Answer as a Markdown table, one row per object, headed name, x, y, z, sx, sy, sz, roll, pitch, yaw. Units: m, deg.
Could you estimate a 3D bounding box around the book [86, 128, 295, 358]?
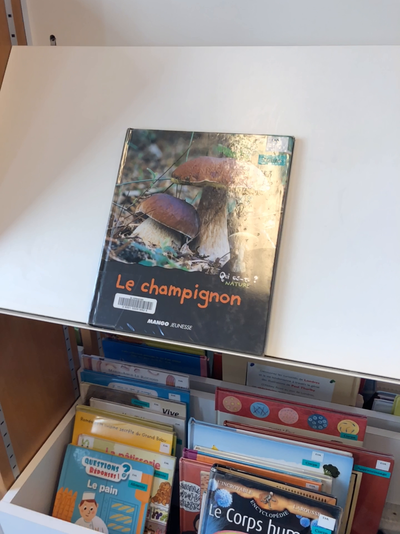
| name | x | y | z | sx | sy | sz | roll | pitch | yaw |
| --- | --- | --- | --- | --- | --- | --- | --- | --- | --- |
| book | -0.010 | -0.037 | 0.502 | 0.202 | 0.242 | 0.020 | 7 | -9 | 15 |
